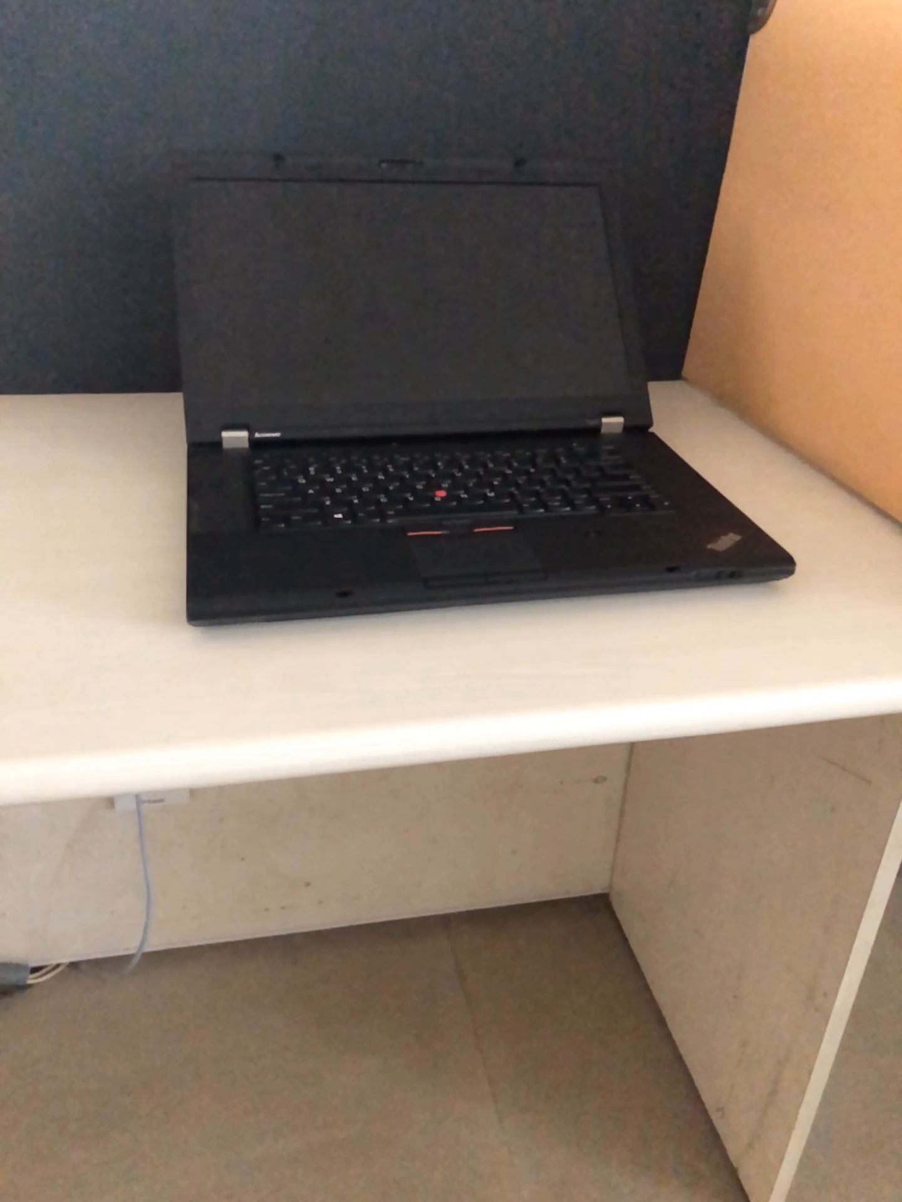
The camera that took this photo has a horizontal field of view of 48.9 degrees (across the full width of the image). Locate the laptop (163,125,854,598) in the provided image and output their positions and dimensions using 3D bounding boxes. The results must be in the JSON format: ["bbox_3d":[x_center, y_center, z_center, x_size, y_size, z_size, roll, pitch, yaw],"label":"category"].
[{"bbox_3d":[-0.007,-0.193,0.690,0.354,0.185,0.381,-4,32,-13],"label":"laptop"}]
